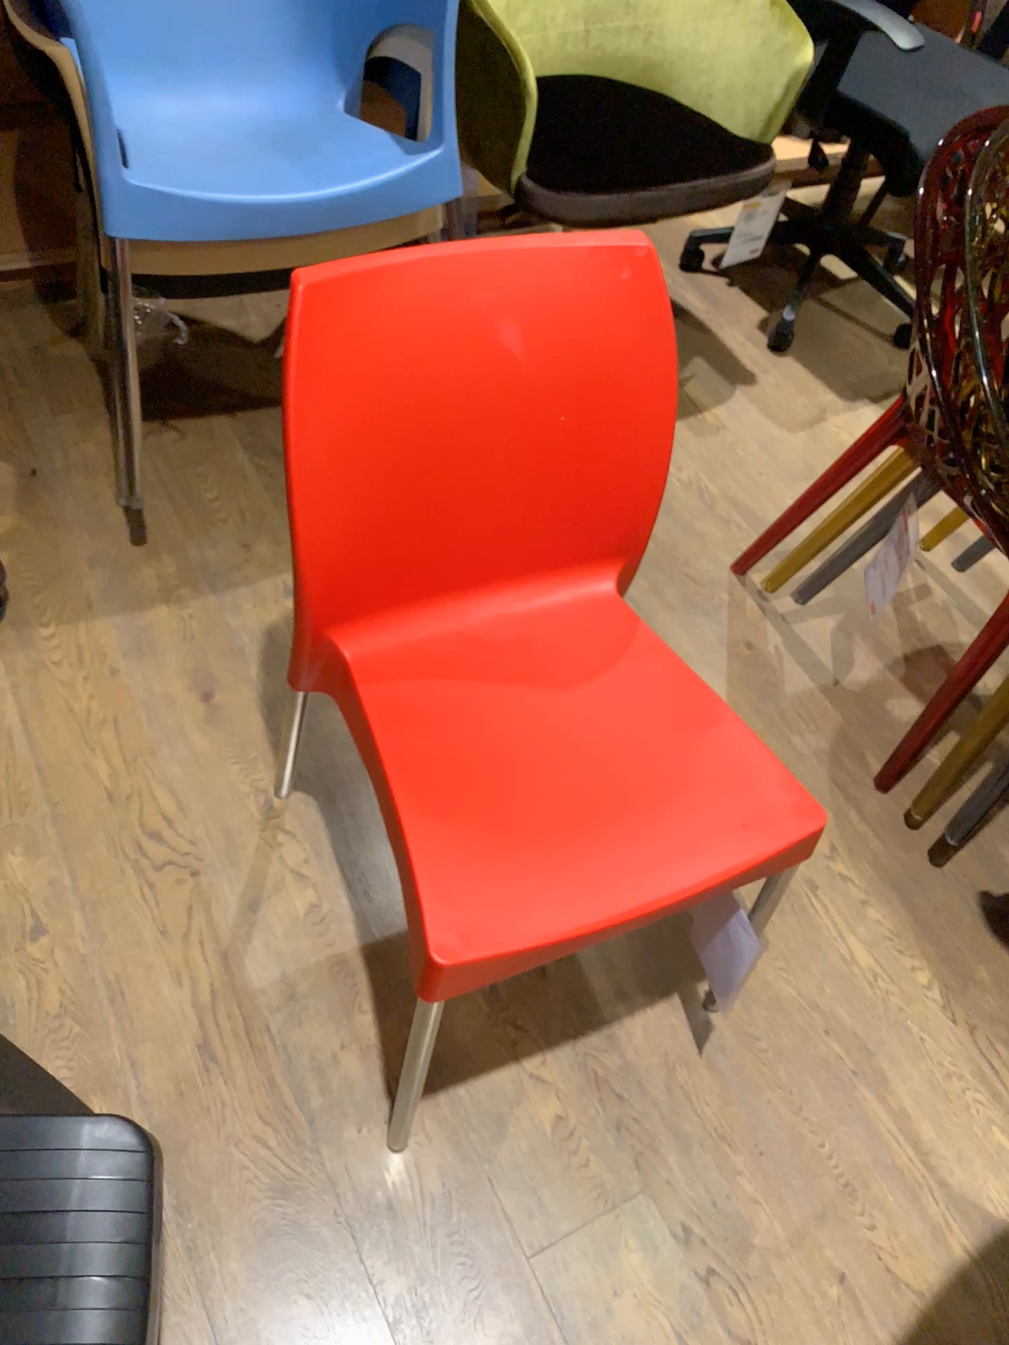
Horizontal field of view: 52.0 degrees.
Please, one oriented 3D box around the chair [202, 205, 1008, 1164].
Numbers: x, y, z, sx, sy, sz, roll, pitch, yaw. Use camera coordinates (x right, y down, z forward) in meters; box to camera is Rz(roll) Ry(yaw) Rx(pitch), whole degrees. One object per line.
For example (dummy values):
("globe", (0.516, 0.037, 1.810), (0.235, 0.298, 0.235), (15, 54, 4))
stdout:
("chair", (0.039, 0.034, 1.153), (0.531, 0.778, 0.621), (-14, 56, -20))
